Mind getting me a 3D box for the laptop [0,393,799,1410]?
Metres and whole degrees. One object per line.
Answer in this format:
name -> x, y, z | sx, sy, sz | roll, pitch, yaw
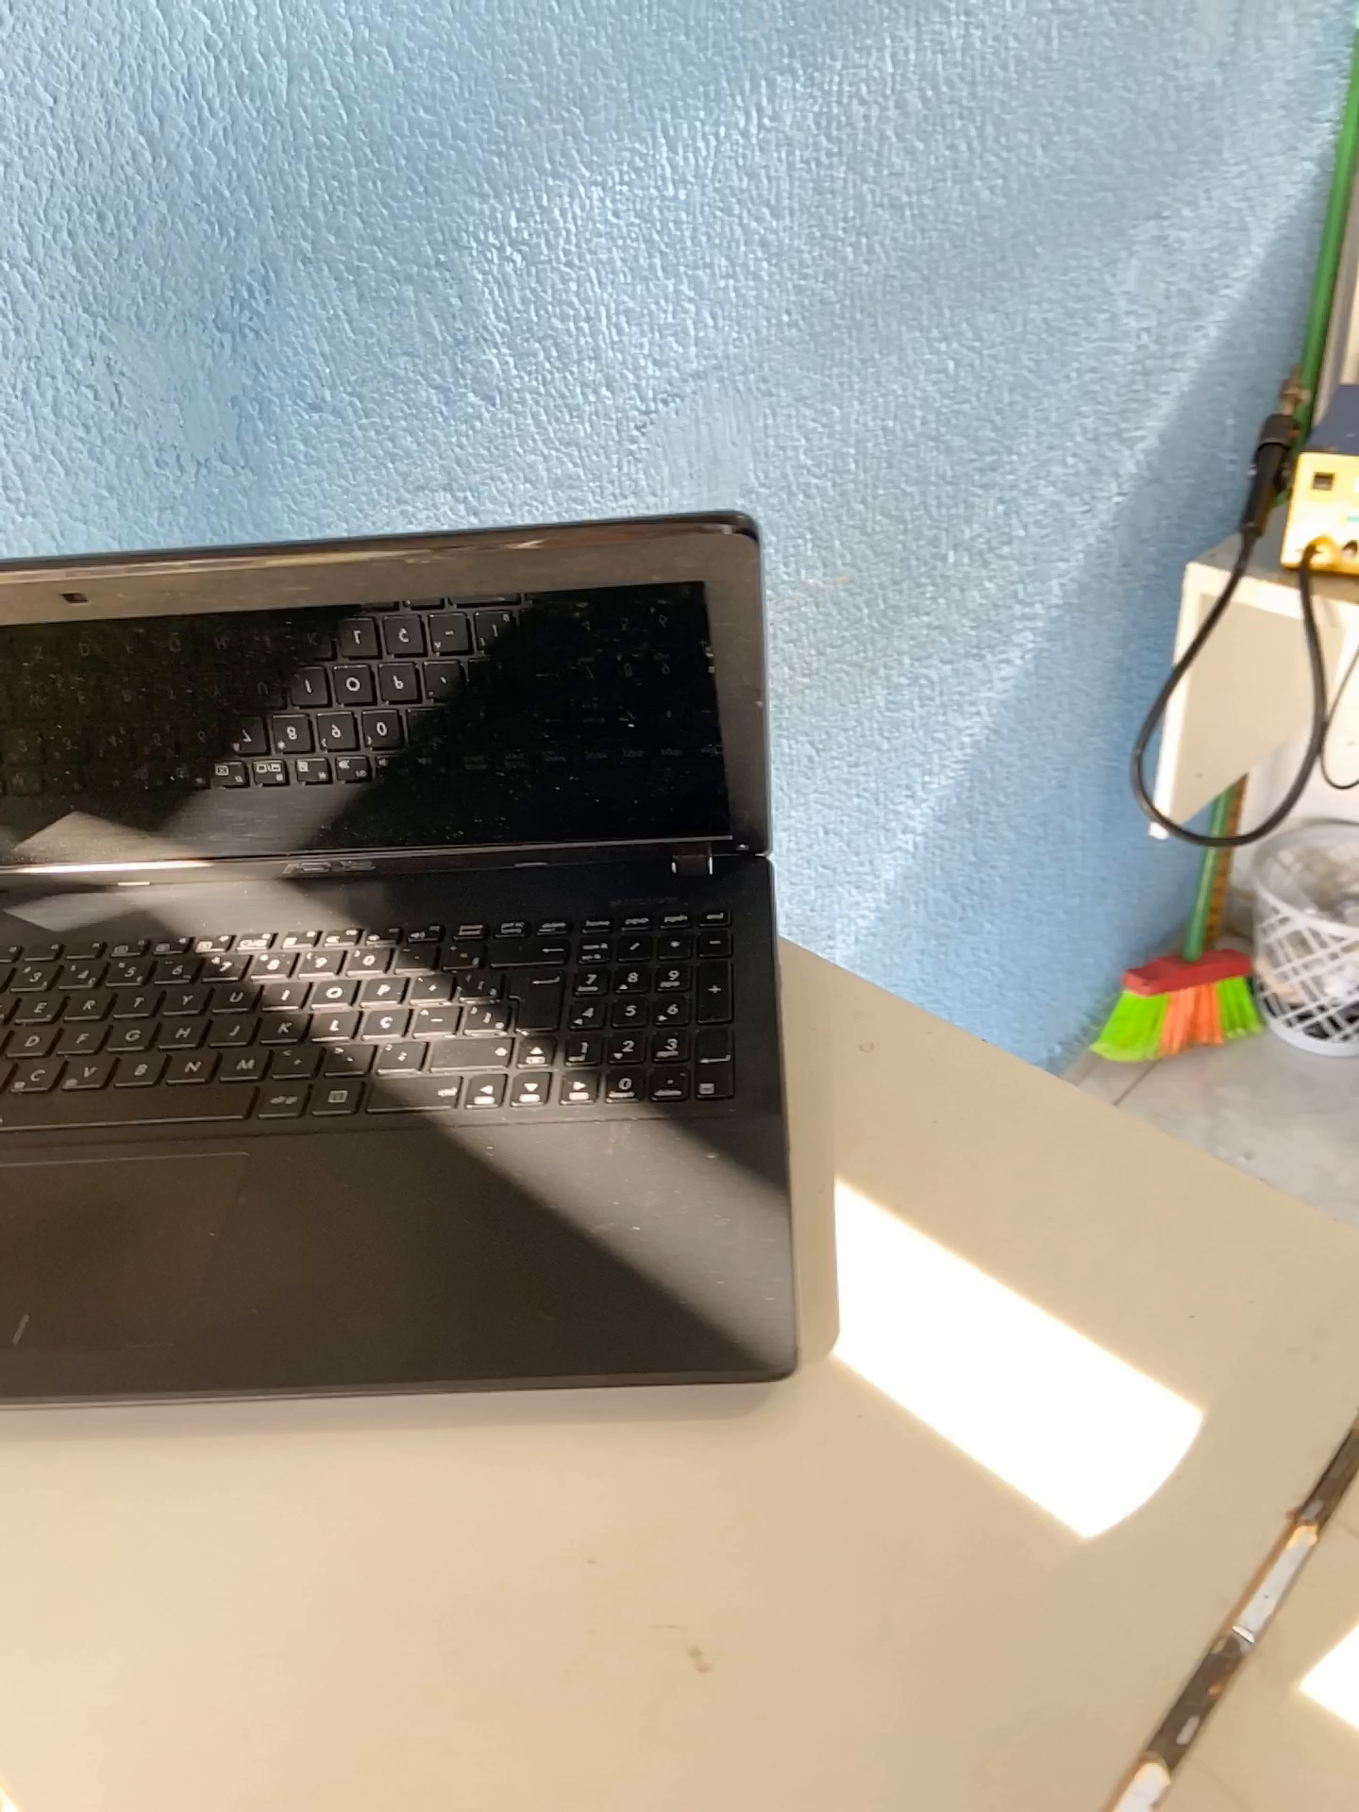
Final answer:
laptop -> -0.158, -0.011, 0.443 | 0.373, 0.190, 0.240 | -3, 36, 5
